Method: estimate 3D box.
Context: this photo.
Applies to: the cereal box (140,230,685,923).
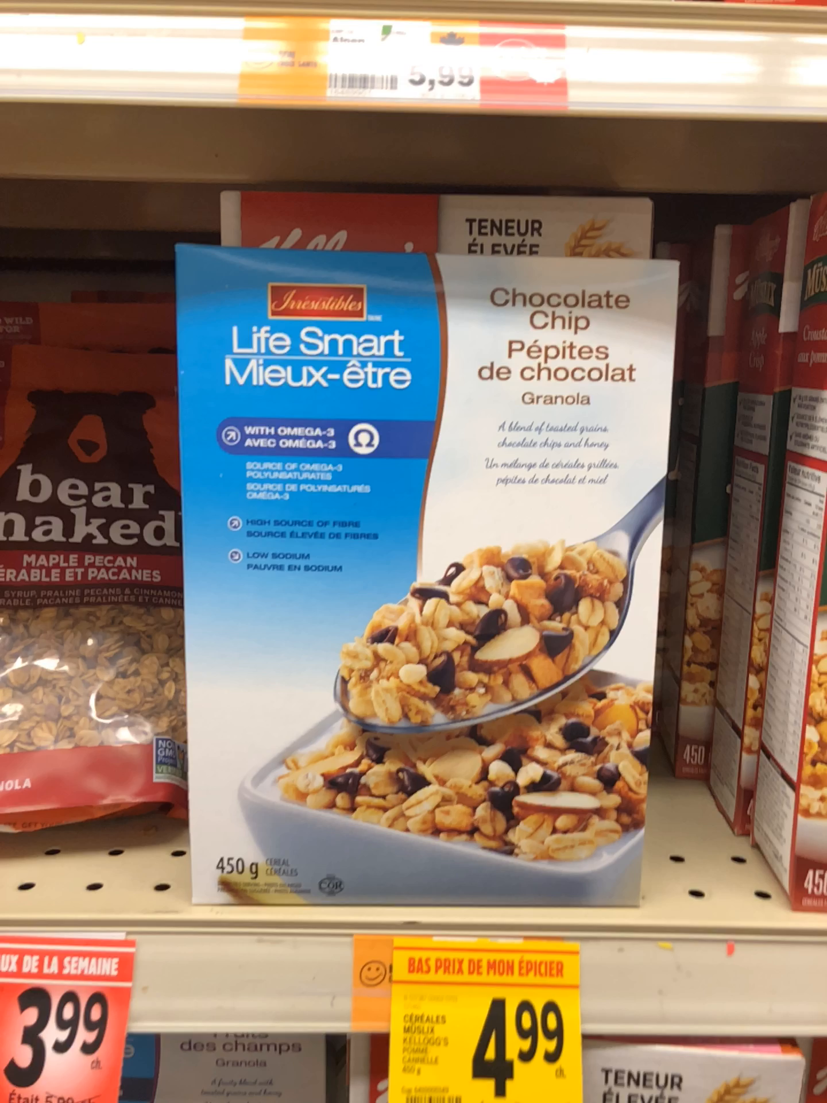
[{"bbox_3d":[-0.003,0.012,0.341,0.180,0.239,0.050,1,7,-3],"label":"cereal box"}]
